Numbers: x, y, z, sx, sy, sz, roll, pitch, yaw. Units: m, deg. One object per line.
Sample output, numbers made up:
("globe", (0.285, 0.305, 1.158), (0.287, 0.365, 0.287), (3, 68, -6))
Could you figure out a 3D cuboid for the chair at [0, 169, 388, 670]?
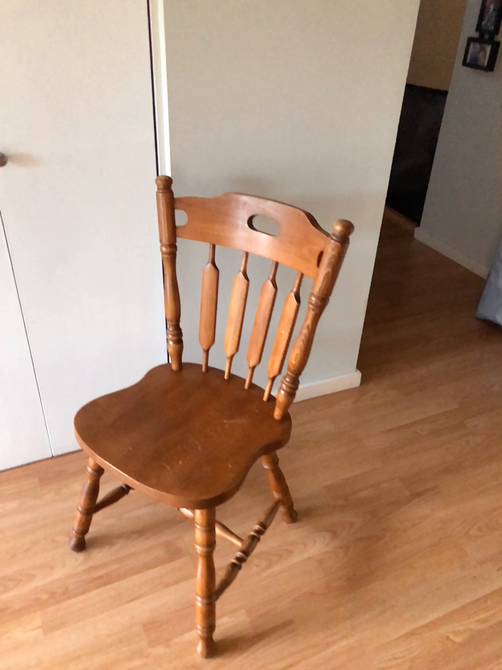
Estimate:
("chair", (-0.142, 0.153, 1.251), (0.561, 0.817, 0.591), (23, 38, 28))
